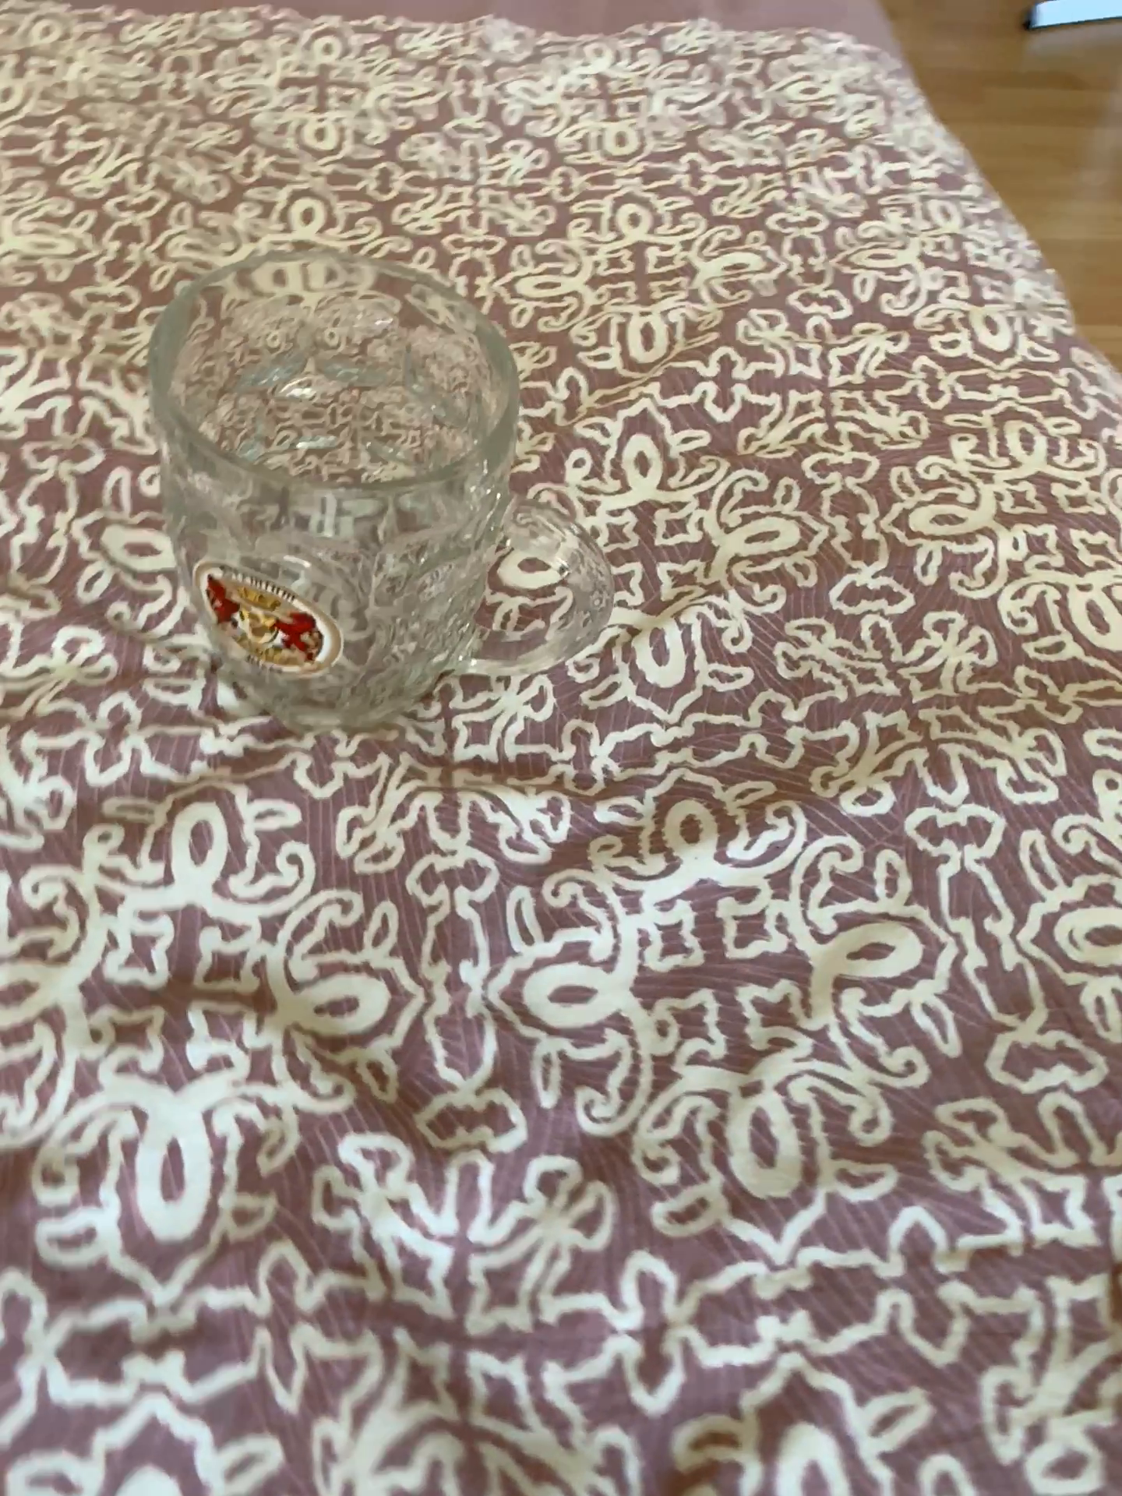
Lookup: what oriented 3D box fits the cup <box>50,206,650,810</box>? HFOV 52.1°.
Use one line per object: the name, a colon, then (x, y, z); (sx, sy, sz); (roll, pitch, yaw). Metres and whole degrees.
cup: (-0.052, -0.063, 0.316); (0.117, 0.099, 0.094); (17, 55, 1)
